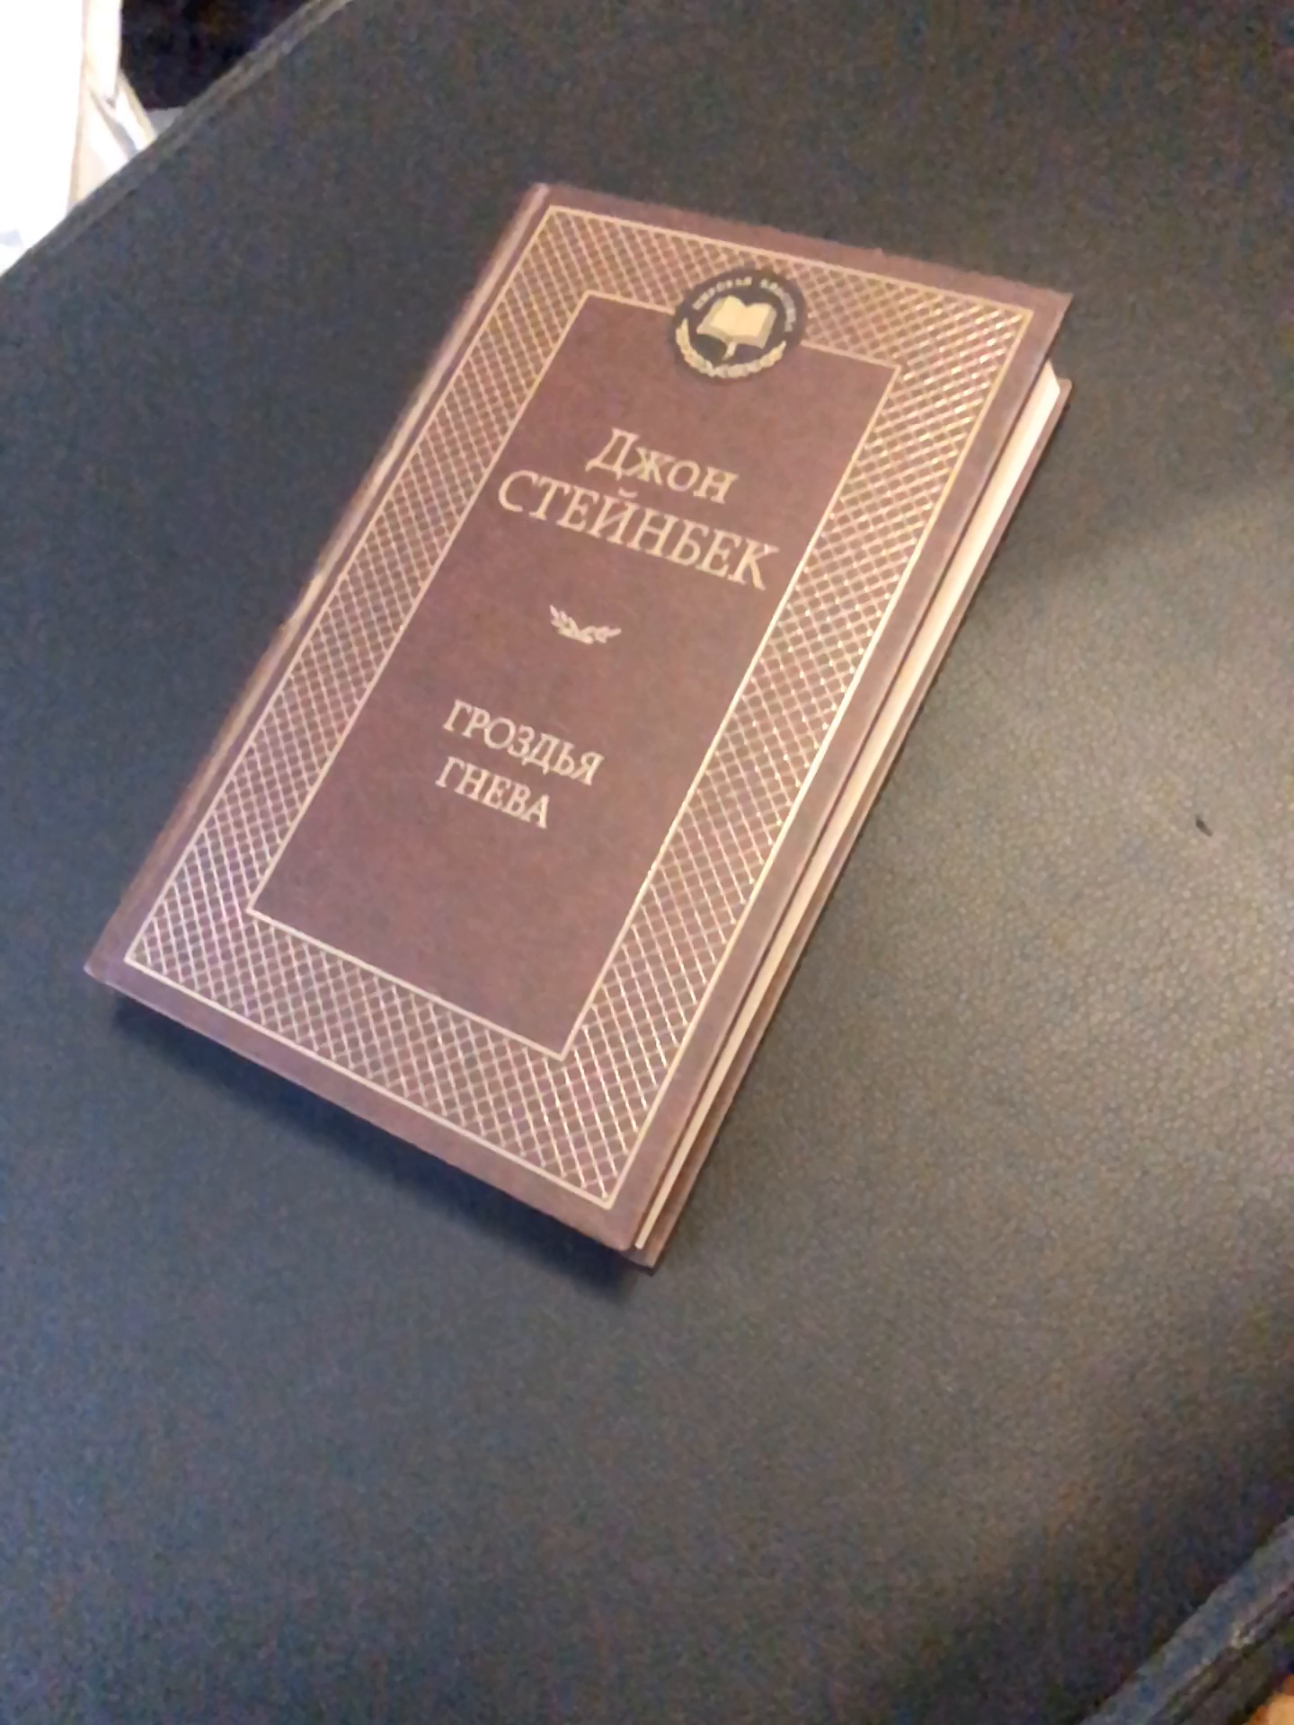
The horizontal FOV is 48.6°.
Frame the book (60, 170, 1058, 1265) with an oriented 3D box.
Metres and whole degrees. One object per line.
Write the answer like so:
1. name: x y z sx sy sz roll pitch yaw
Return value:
1. book: -0.015 -0.039 0.300 0.130 0.040 0.199 22 80 22
